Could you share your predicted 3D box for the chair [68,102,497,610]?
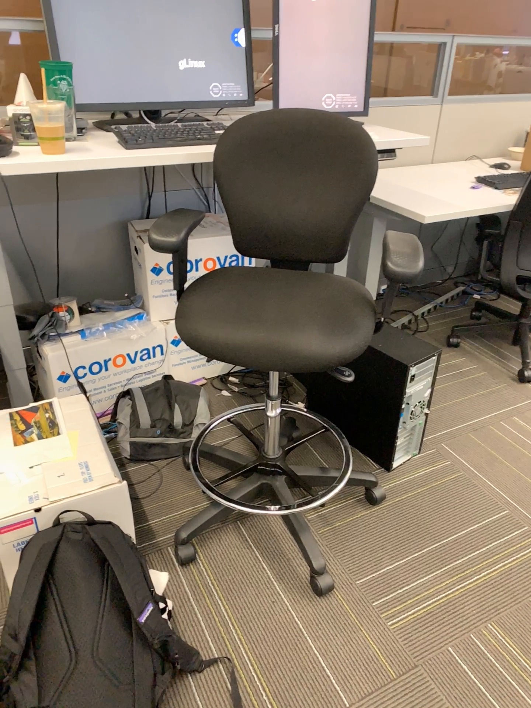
[{"bbox_3d":[0.051,-0.042,1.493,0.710,1.103,0.774,5,30,6],"label":"chair"}]
